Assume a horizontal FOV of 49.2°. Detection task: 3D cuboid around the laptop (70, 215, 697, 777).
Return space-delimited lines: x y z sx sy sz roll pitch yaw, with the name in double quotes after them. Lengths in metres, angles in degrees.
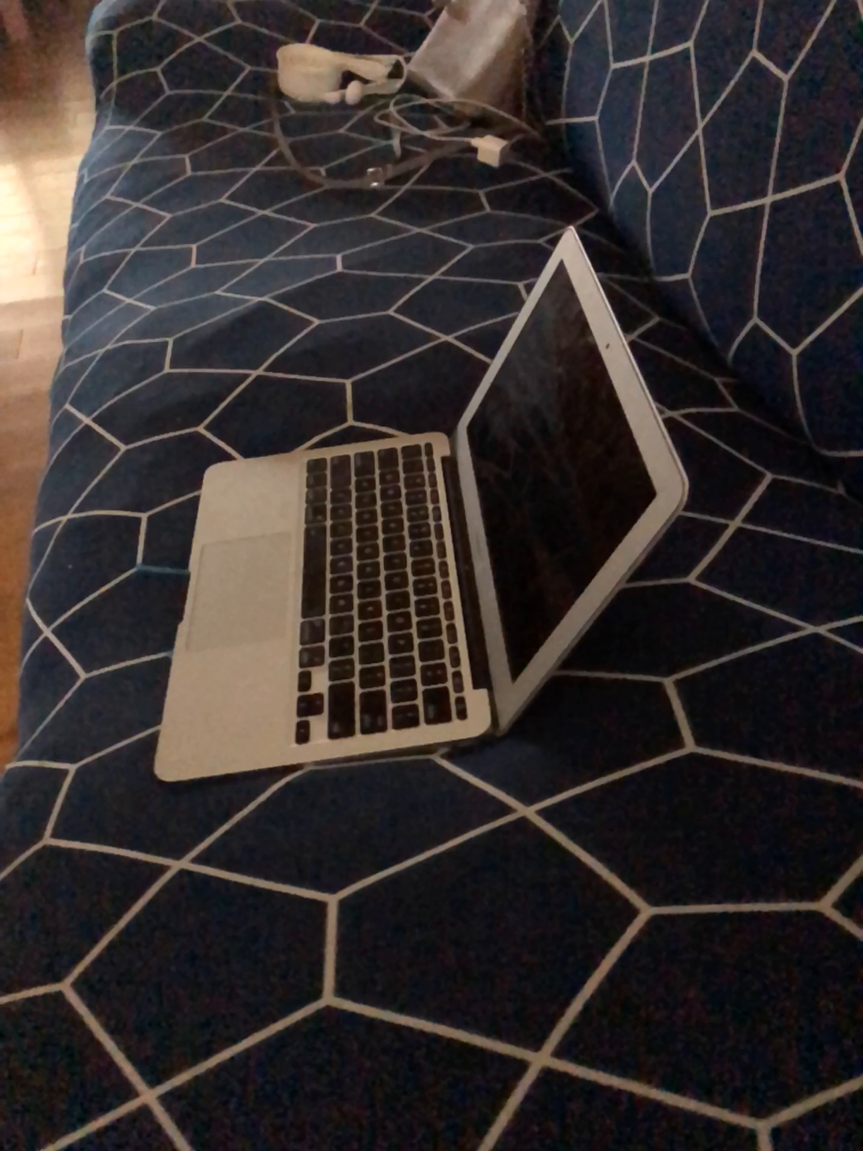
-0.026 -0.062 0.571 0.279 0.156 0.283 -7 44 1 "laptop"
